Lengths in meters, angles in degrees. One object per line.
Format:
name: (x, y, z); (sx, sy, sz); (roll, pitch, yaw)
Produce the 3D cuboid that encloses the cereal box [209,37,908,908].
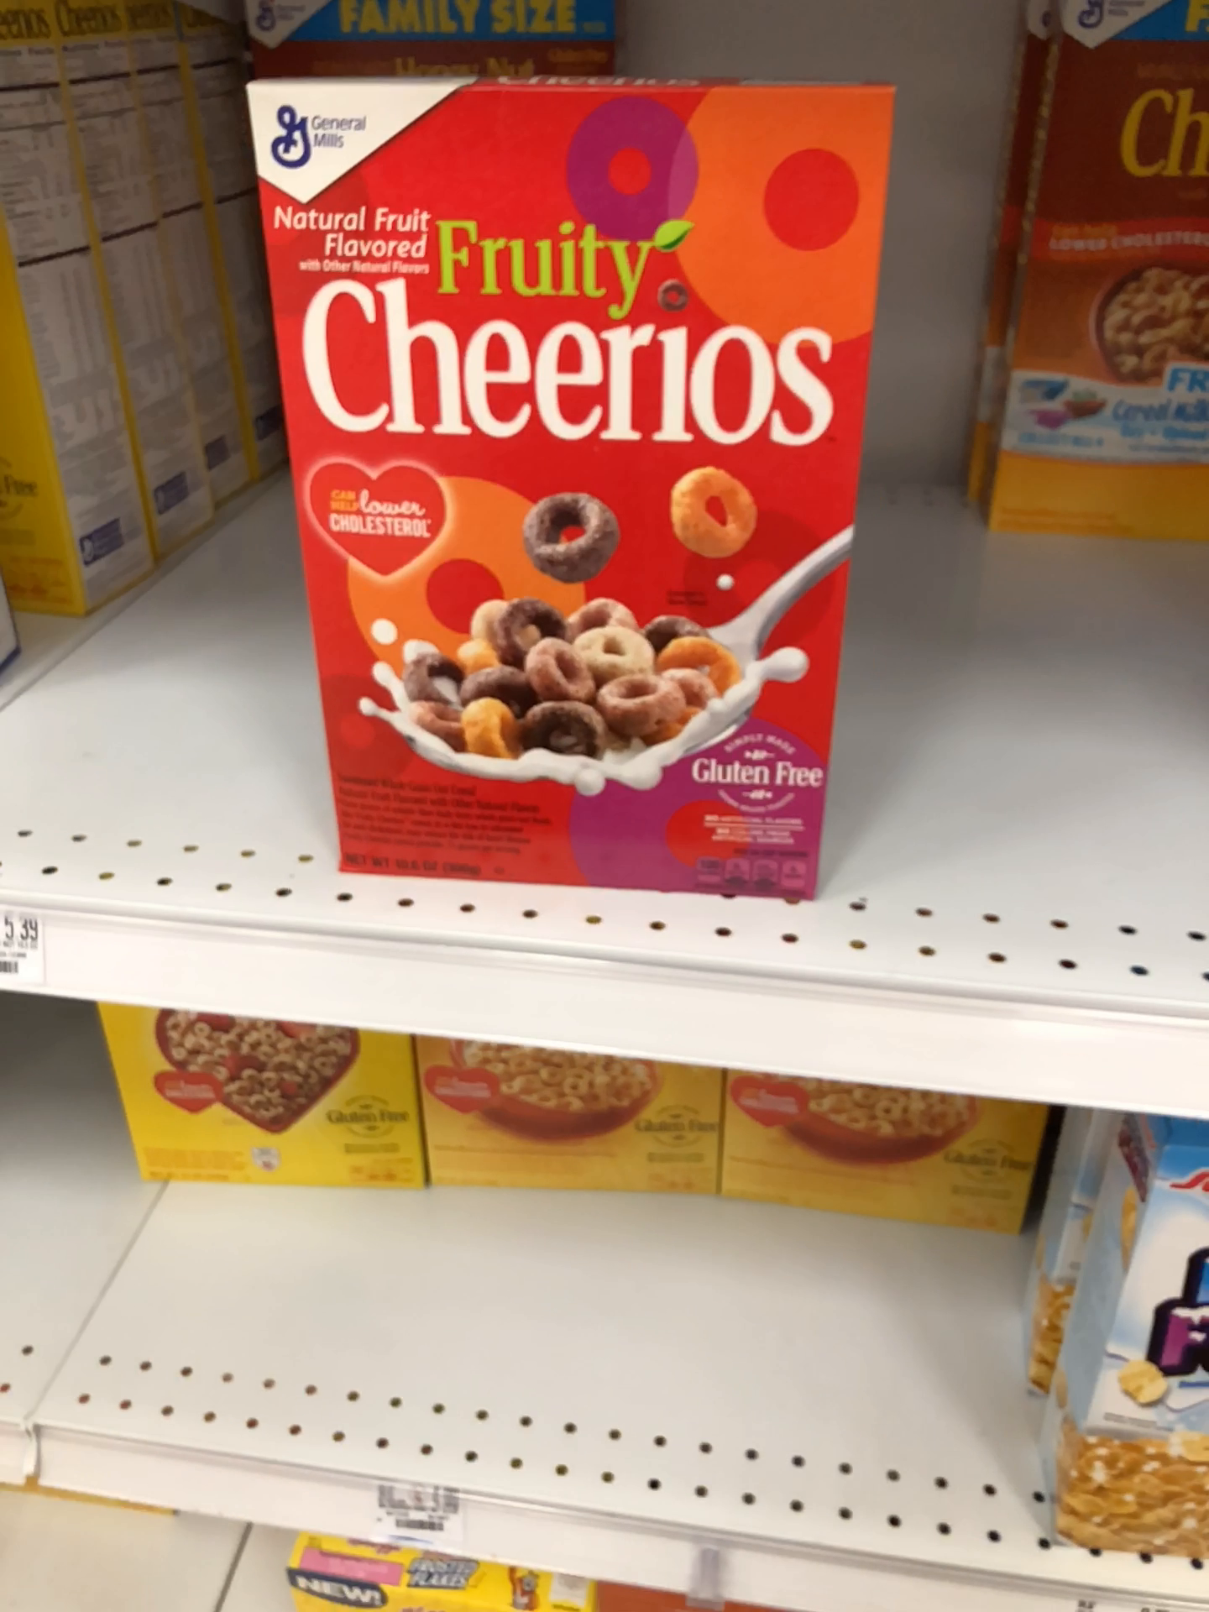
cereal box: (-0.010, -0.105, 0.481); (0.200, 0.289, 0.060); (3, 31, 7)
